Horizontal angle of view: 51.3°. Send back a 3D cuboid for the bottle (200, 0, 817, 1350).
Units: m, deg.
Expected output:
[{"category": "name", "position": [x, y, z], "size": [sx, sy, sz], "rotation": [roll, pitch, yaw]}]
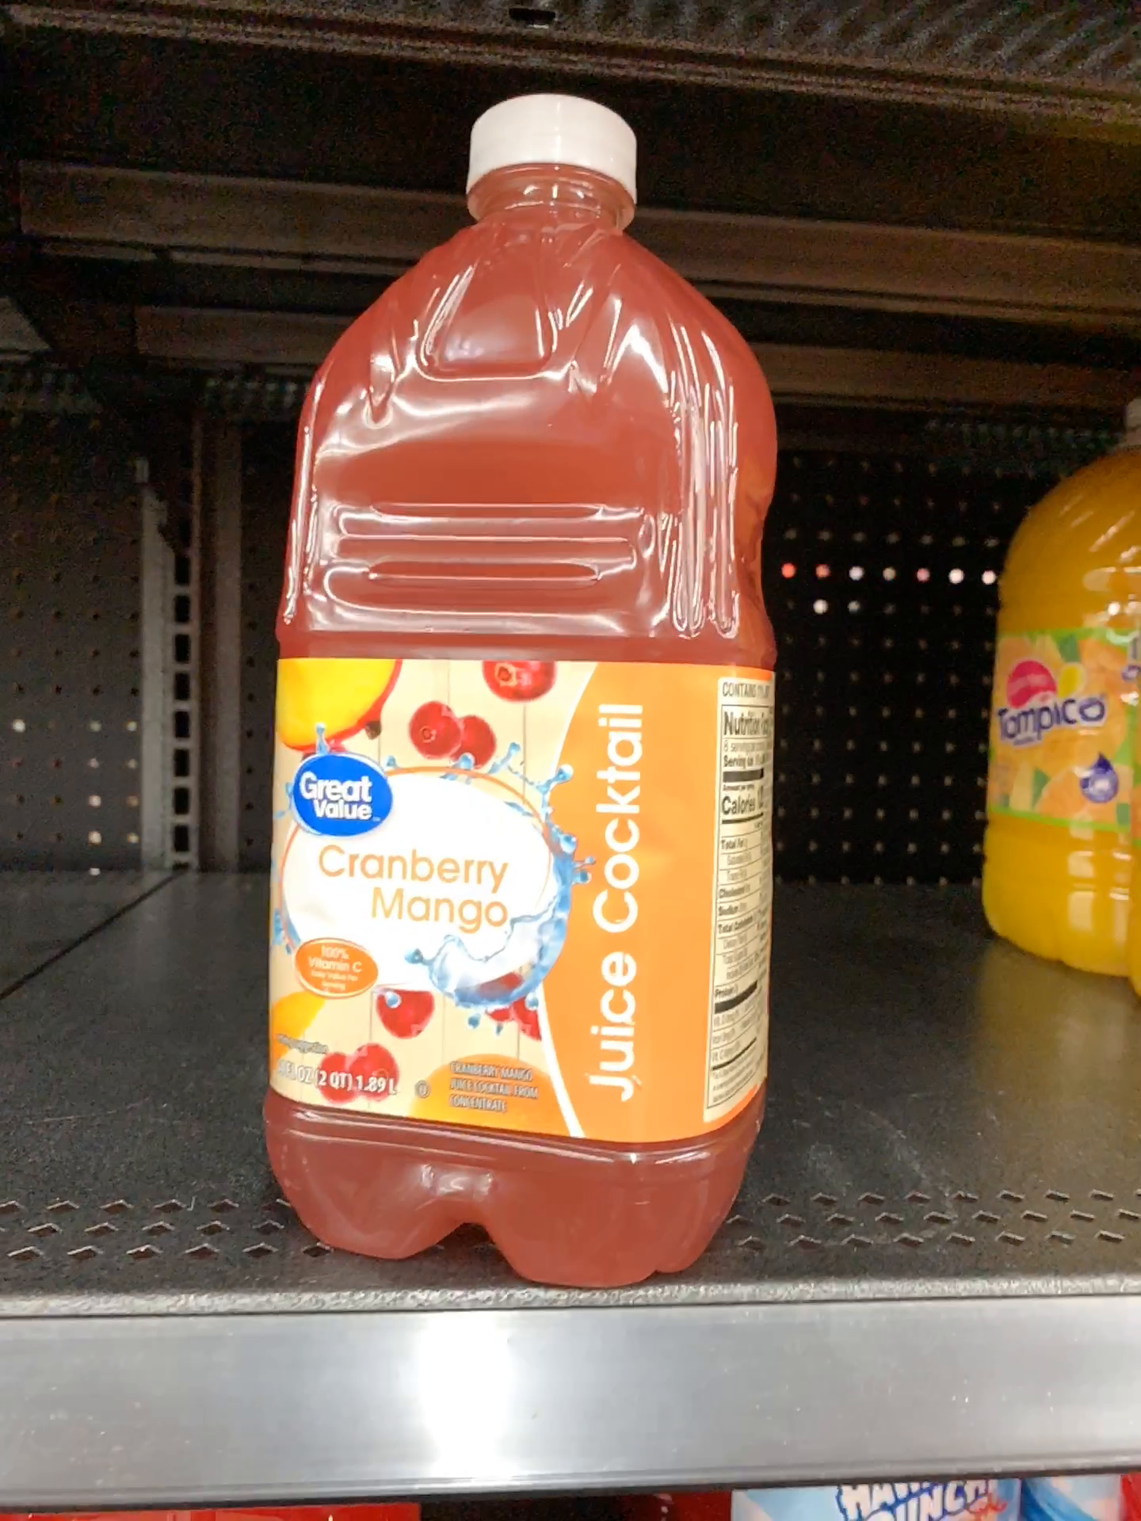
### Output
[{"category": "bottle", "position": [-0.009, -0.025, 0.291], "size": [0.119, 0.272, 0.101], "rotation": [2, 4, 16]}]
